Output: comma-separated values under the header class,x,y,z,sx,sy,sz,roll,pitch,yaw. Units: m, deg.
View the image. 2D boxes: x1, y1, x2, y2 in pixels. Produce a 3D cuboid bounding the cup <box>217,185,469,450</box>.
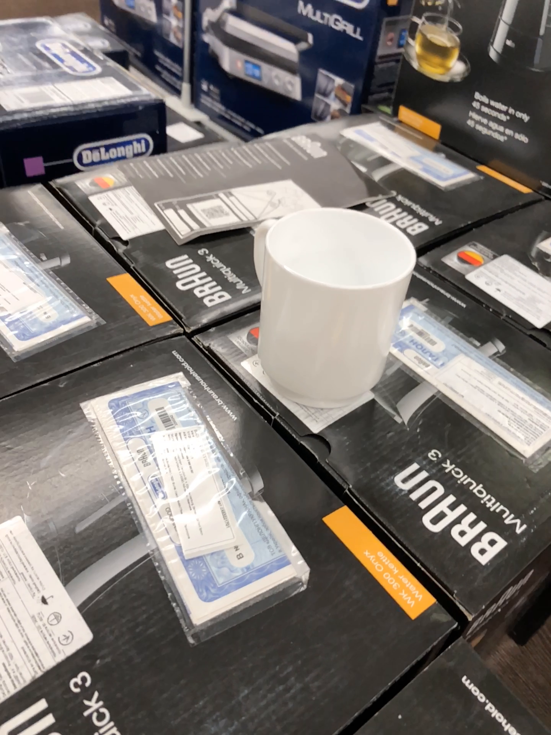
class,x,y,z,sx,sy,sz,roll,pitch,yaw
cup,0.030,-0.034,0.354,0.082,0.091,0.111,-20,46,-28
